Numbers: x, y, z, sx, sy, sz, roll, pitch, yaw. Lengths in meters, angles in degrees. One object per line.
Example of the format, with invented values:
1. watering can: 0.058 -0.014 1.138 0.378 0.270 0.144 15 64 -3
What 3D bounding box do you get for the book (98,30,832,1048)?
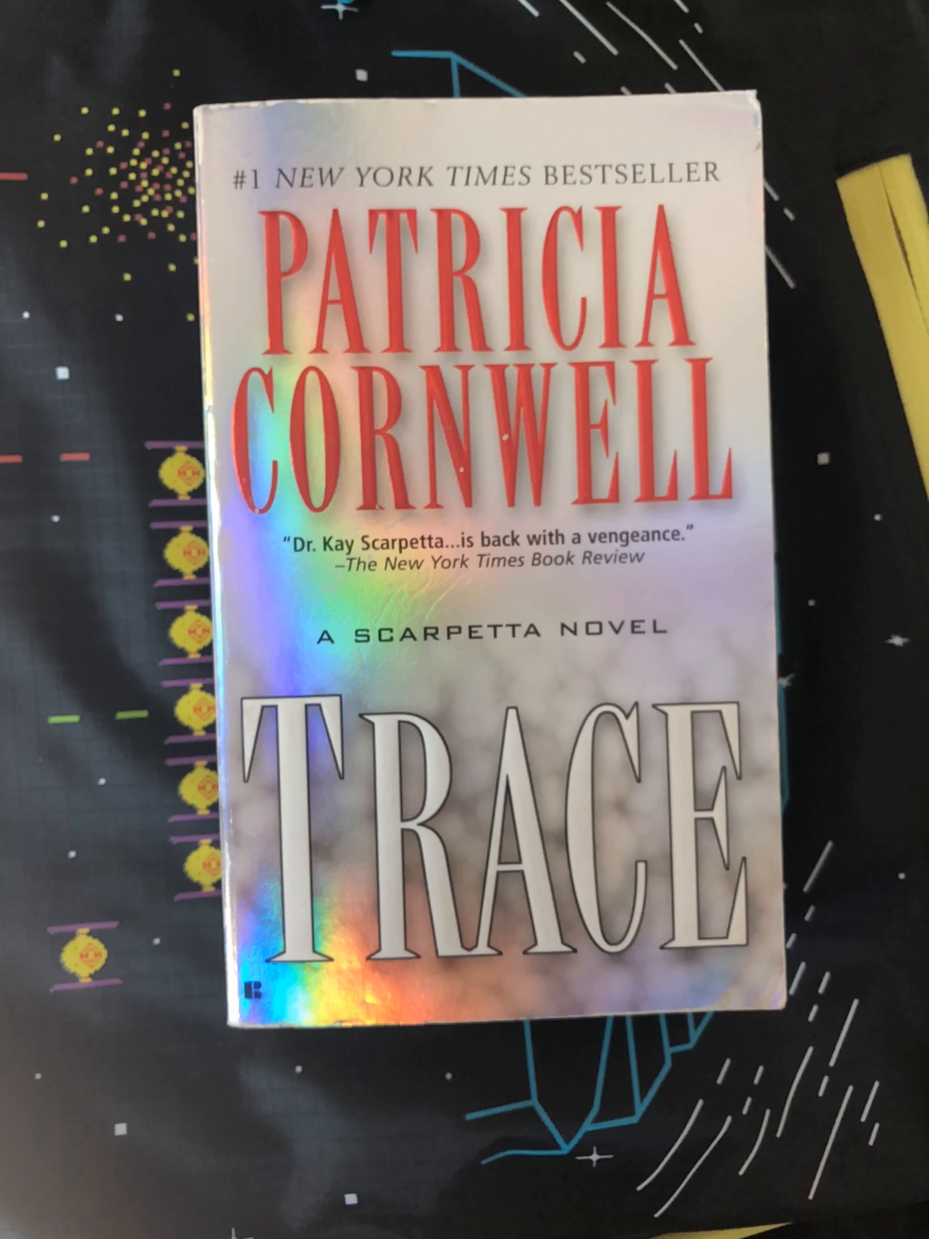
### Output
1. book: 0.000 -0.013 0.199 0.120 0.040 0.170 -2 91 2
